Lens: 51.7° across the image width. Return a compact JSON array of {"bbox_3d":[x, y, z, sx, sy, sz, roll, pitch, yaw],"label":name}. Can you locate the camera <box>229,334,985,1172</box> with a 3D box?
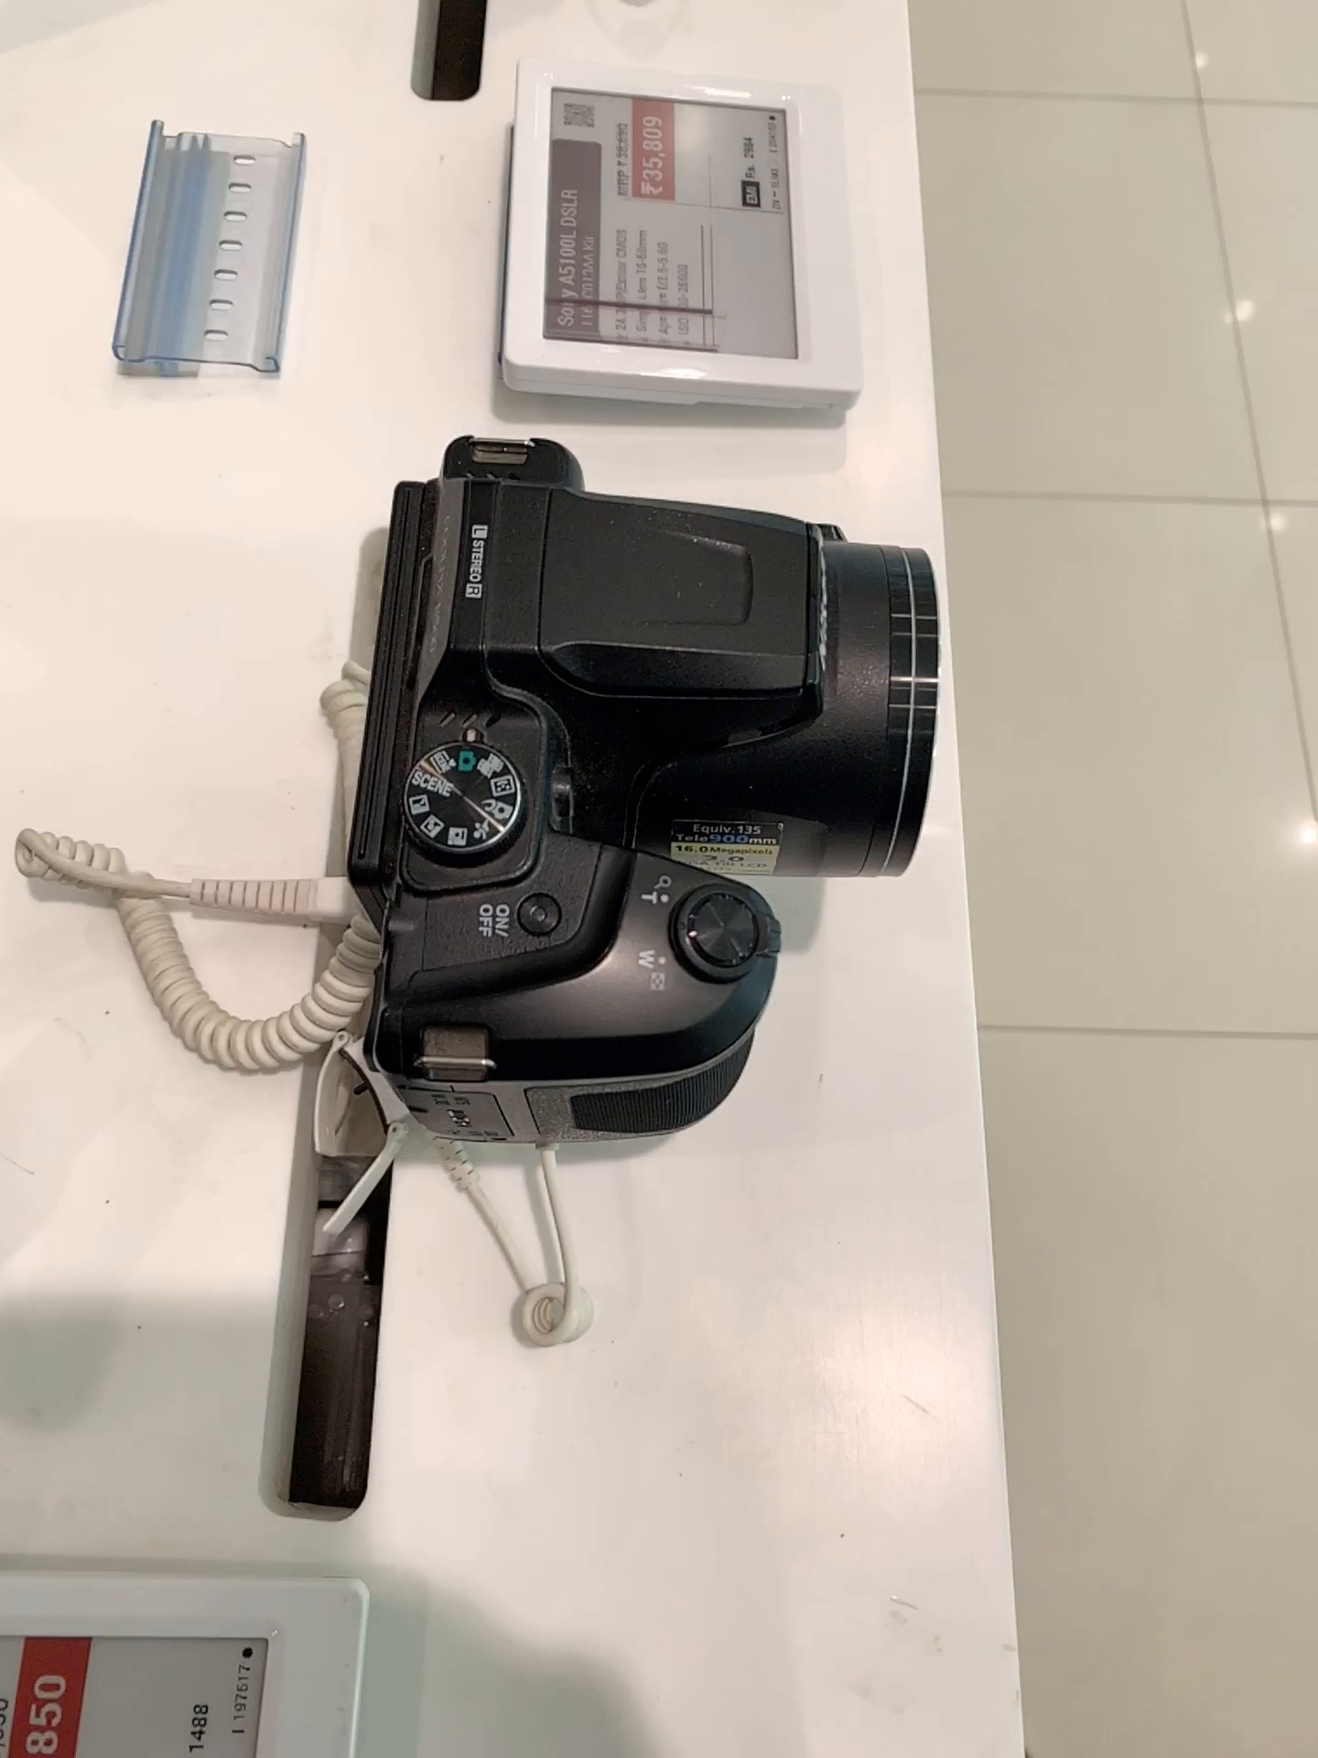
[{"bbox_3d":[-0.006,-0.017,0.239,0.100,0.080,0.120,2,69,-1],"label":"camera"}]
